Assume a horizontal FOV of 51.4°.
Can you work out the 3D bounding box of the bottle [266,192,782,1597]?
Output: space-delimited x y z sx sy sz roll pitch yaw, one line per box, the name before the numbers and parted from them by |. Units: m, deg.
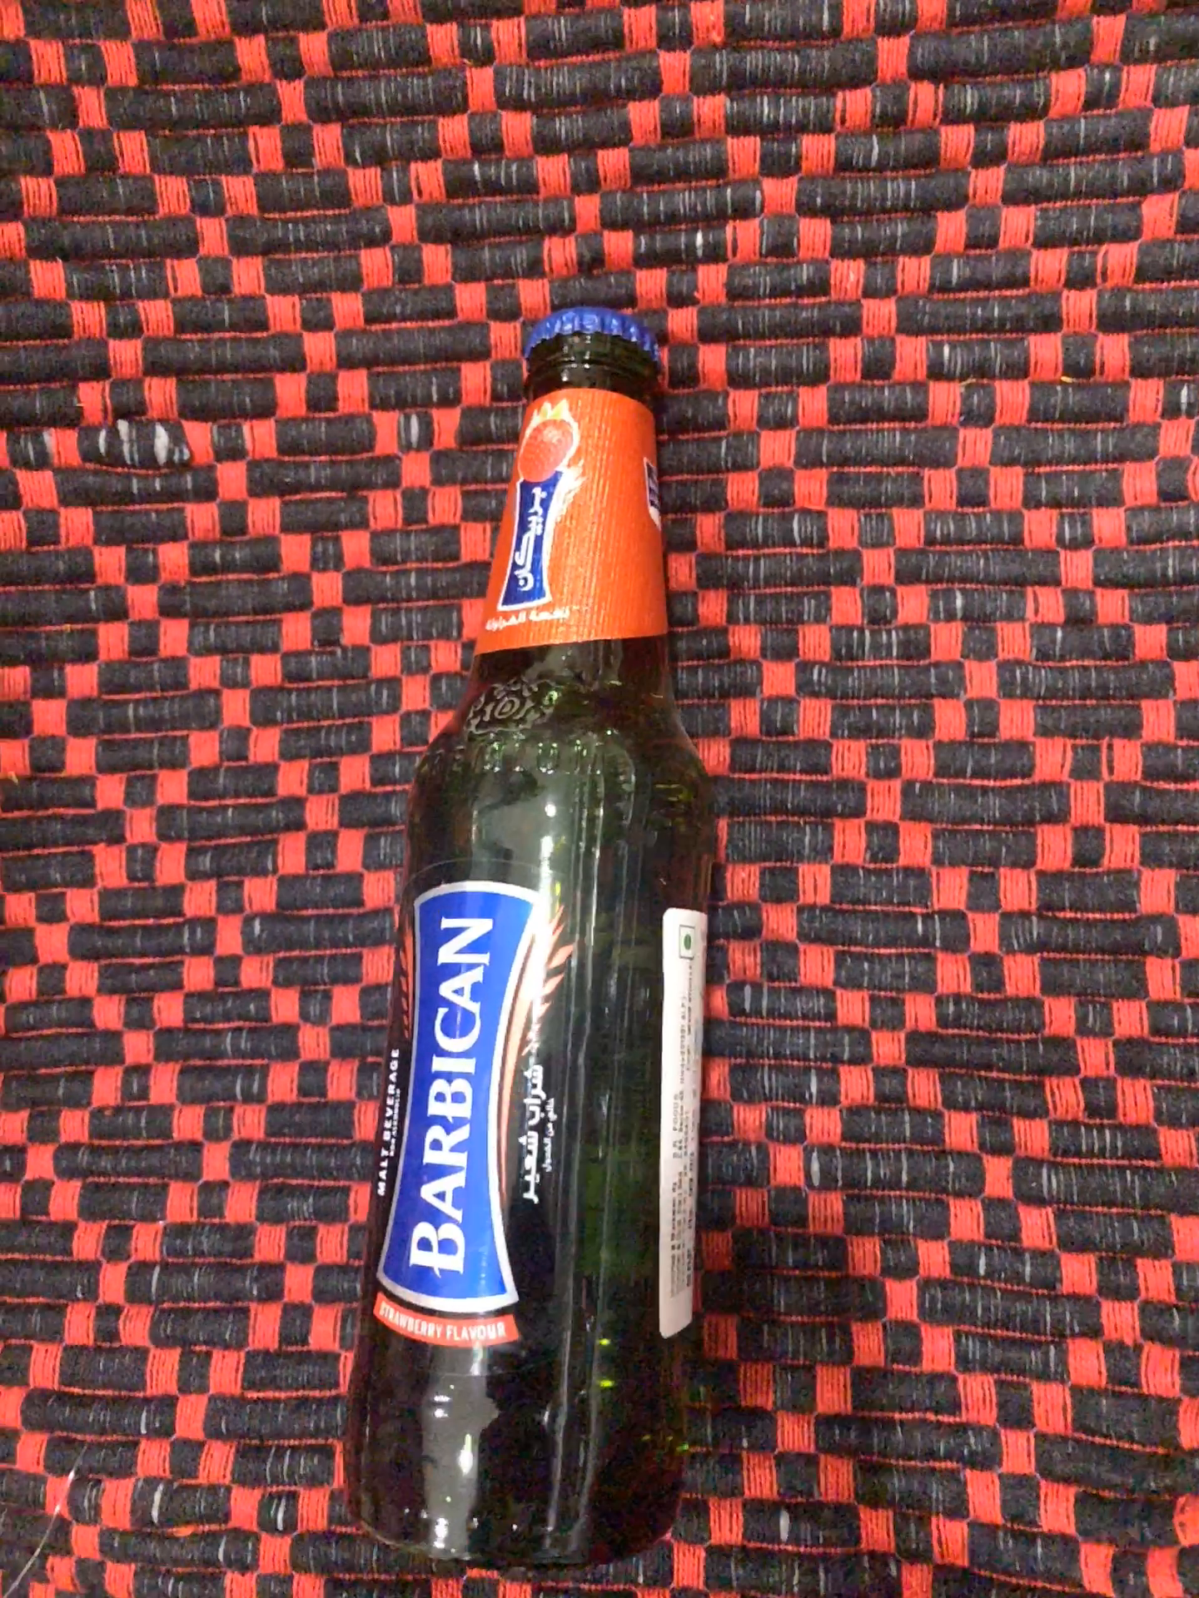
bottle | -0.005 0.013 0.232 0.060 0.070 0.220 -4 76 24
